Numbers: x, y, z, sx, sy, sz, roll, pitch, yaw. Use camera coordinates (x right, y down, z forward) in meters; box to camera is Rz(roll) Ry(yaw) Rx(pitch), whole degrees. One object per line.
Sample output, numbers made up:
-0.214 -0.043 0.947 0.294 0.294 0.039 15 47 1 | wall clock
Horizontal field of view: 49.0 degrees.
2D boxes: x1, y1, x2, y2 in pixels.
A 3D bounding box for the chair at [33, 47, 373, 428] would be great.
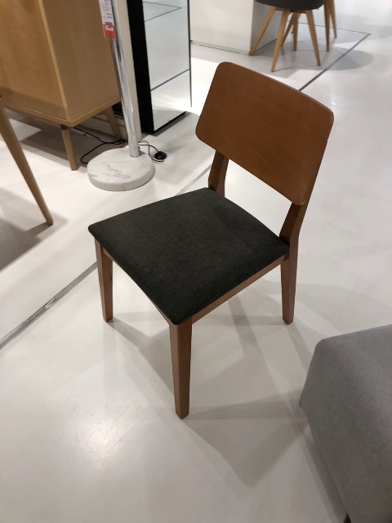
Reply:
0.010 -0.076 1.263 0.582 0.804 0.532 -27 48 -25 | chair
